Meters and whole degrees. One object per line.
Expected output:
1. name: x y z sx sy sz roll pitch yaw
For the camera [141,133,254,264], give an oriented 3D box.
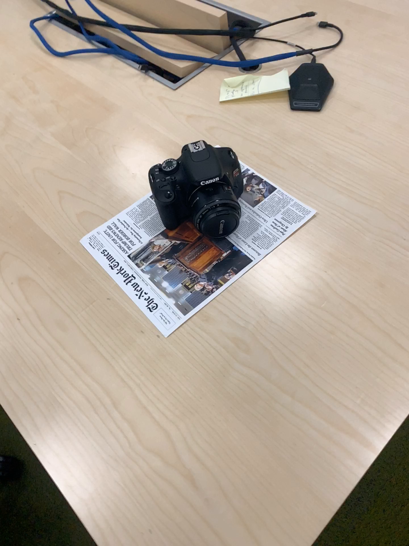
1. camera: -0.009 -0.104 0.594 0.124 0.100 0.122 -15 57 -1
